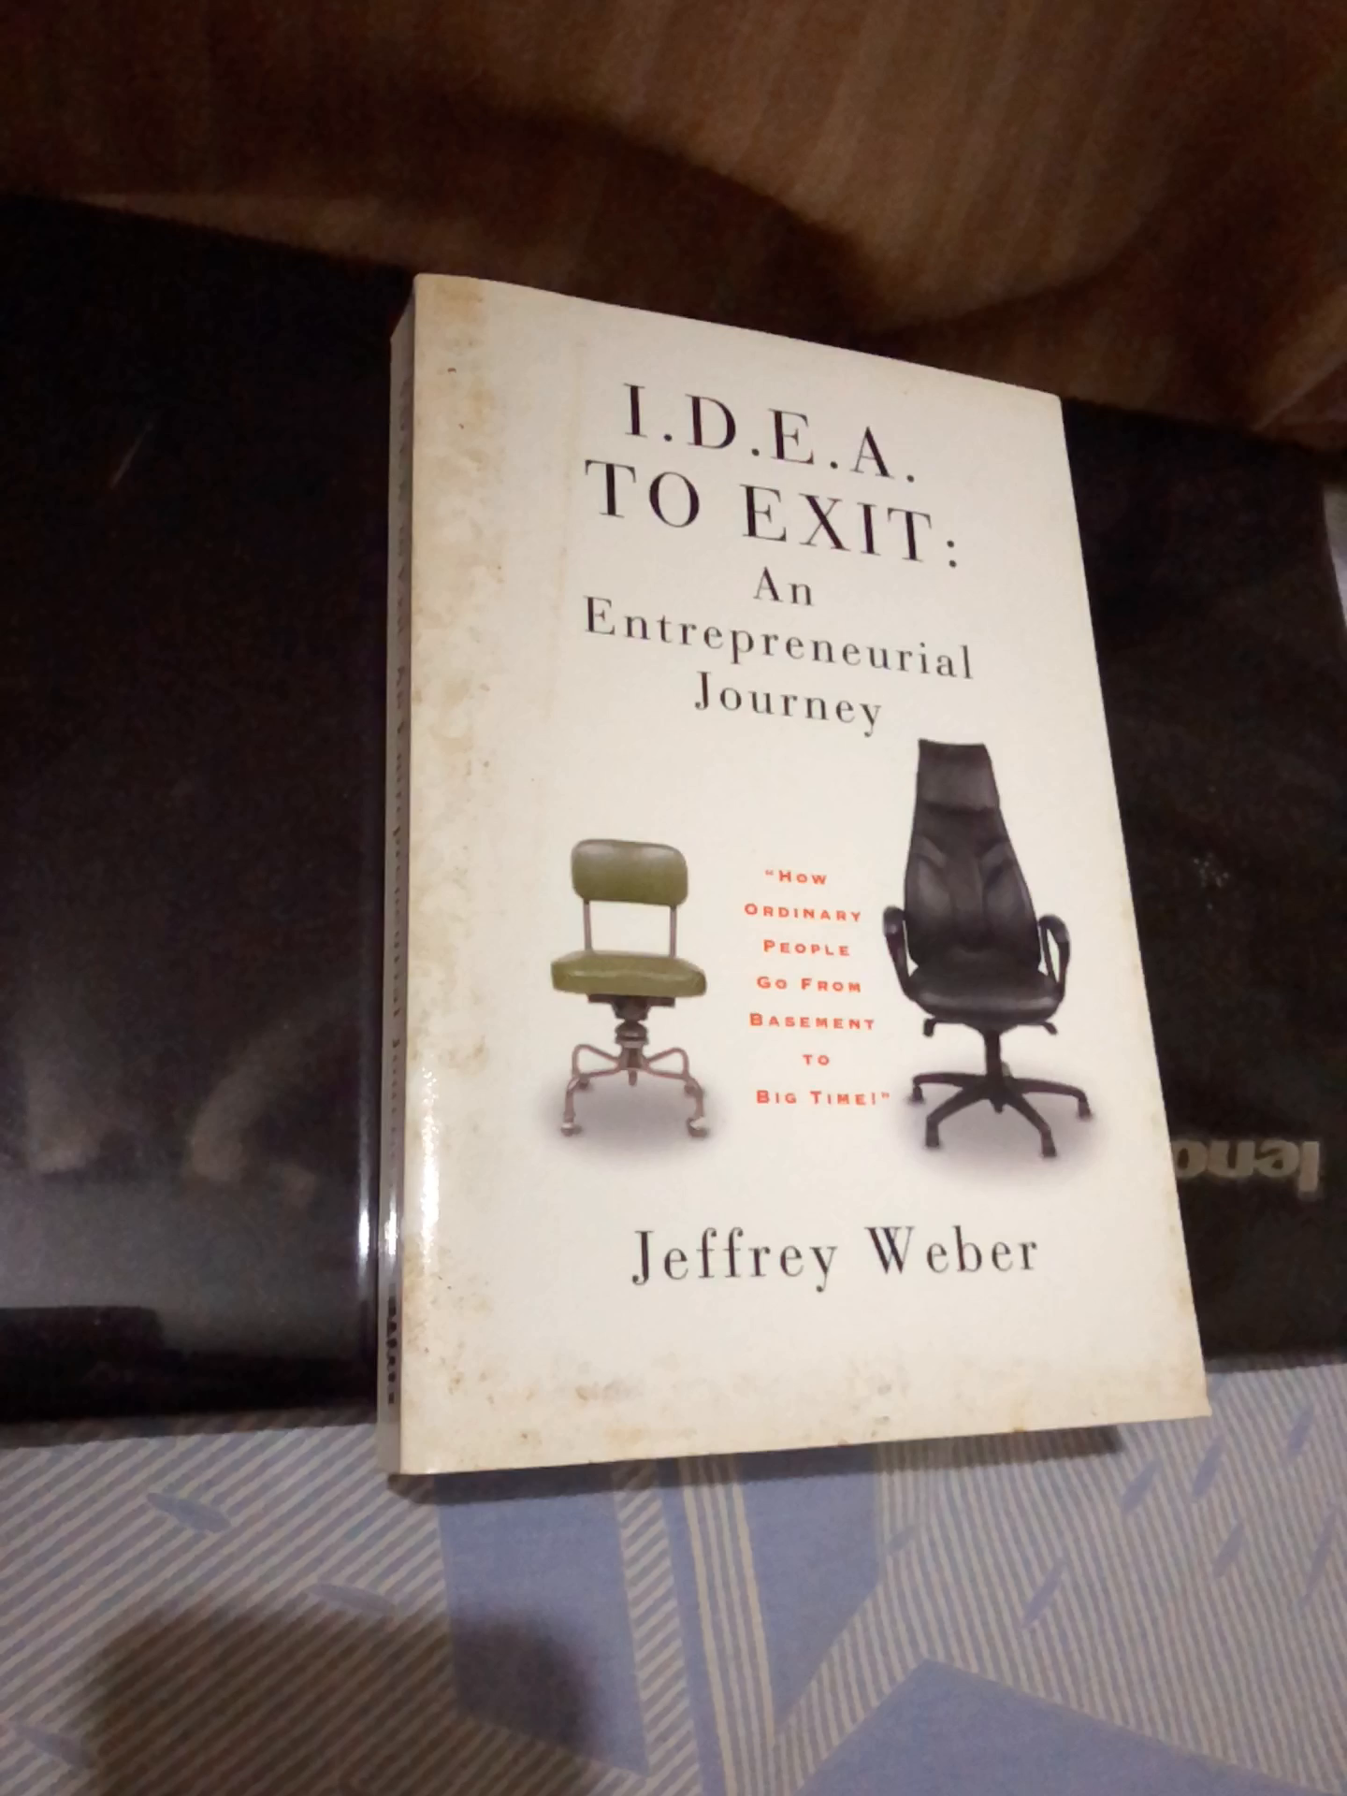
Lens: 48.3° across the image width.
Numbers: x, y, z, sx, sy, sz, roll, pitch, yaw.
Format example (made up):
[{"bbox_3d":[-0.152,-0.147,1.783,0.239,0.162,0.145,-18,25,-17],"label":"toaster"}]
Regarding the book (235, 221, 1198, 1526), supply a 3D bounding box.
[{"bbox_3d":[0.005,-0.012,0.294,0.160,0.030,0.240,5,67,-19],"label":"book"}]
